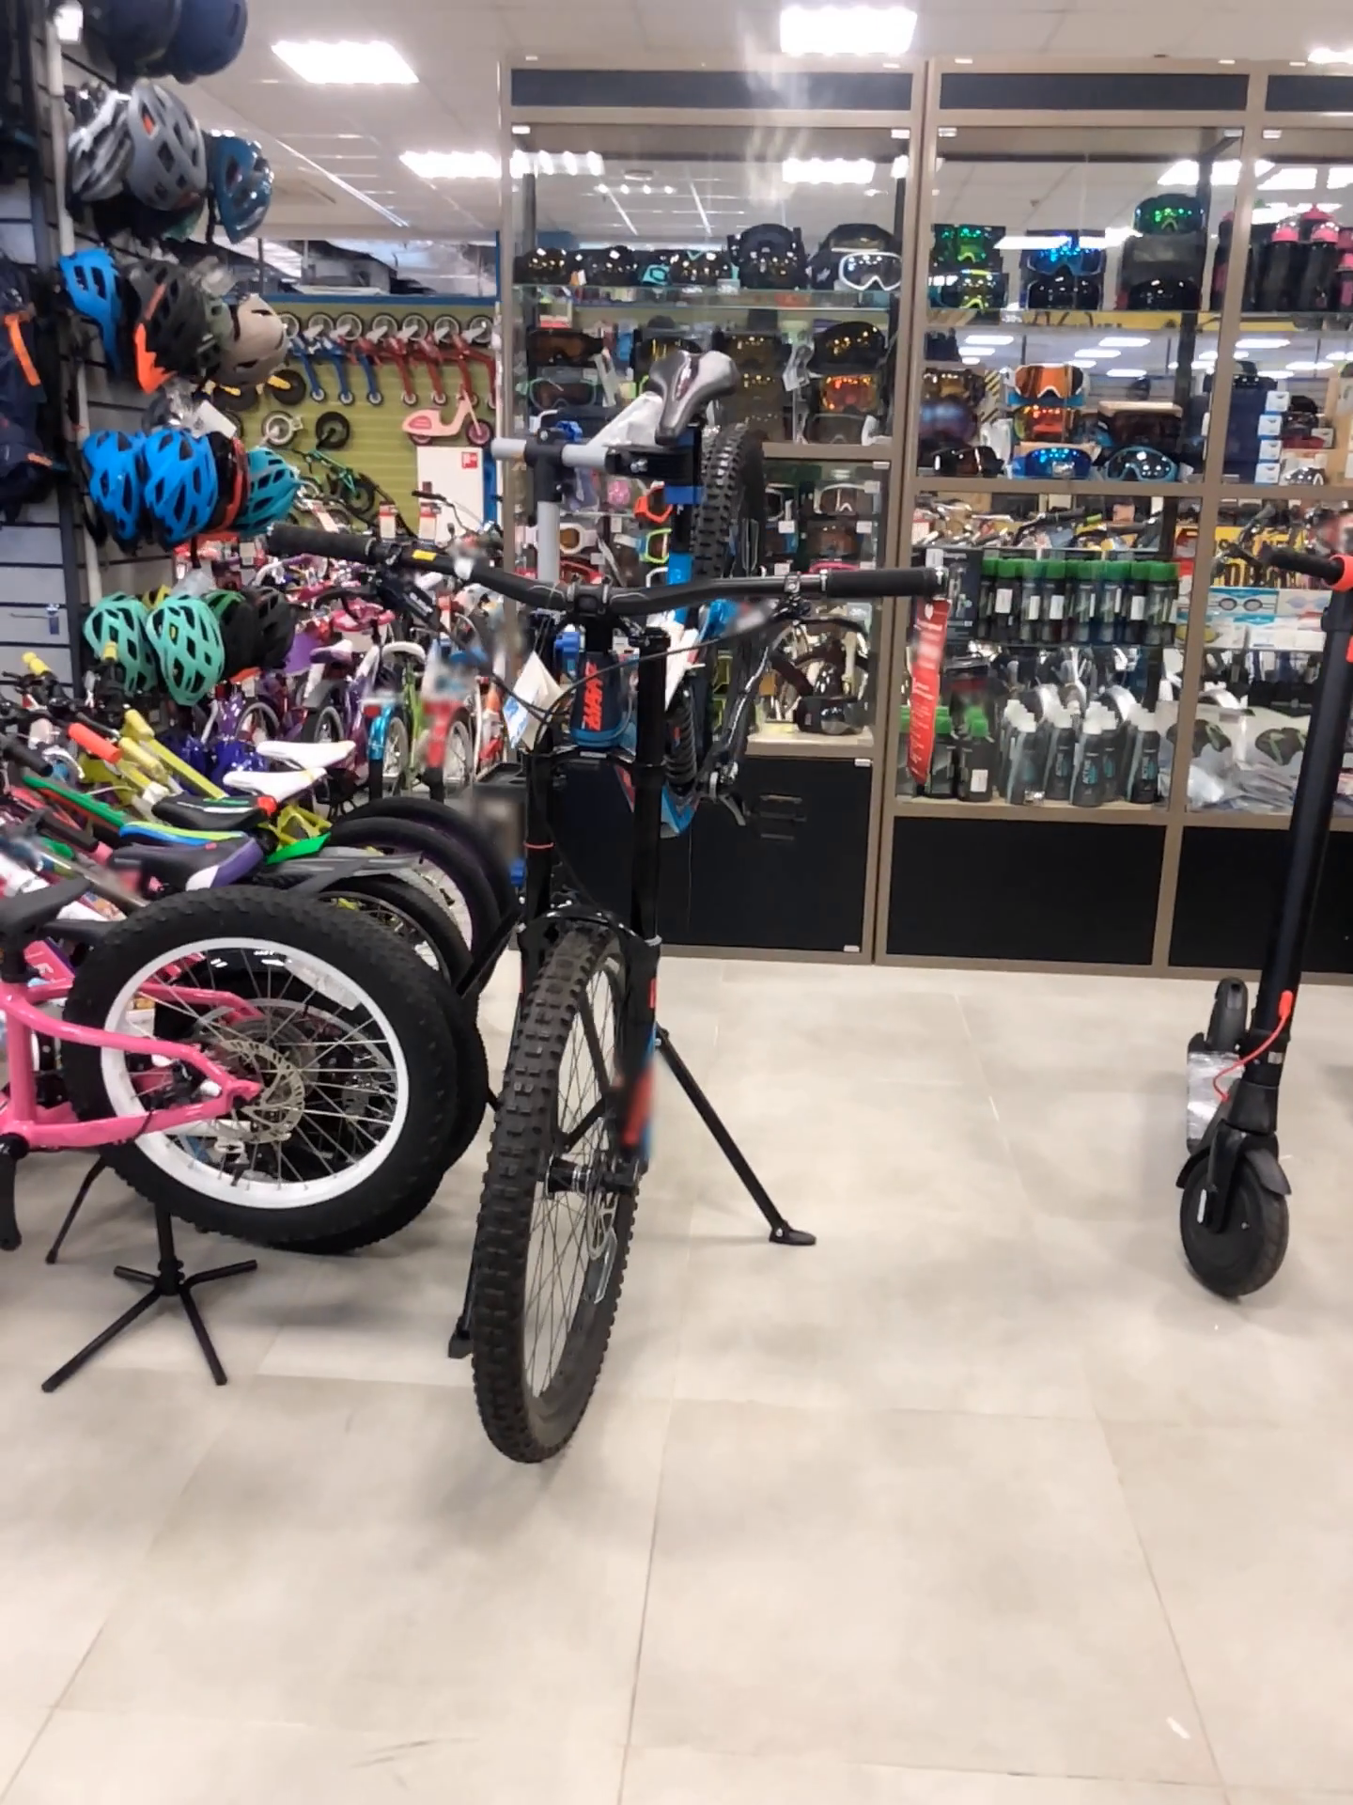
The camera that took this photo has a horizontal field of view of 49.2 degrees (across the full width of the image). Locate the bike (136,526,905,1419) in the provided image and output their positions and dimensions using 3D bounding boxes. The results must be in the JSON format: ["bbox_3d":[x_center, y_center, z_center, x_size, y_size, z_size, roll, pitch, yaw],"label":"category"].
[{"bbox_3d":[-0.098,-0.073,2.156,0.659,0.181,1.532,6,42,12],"label":"bike"}]
